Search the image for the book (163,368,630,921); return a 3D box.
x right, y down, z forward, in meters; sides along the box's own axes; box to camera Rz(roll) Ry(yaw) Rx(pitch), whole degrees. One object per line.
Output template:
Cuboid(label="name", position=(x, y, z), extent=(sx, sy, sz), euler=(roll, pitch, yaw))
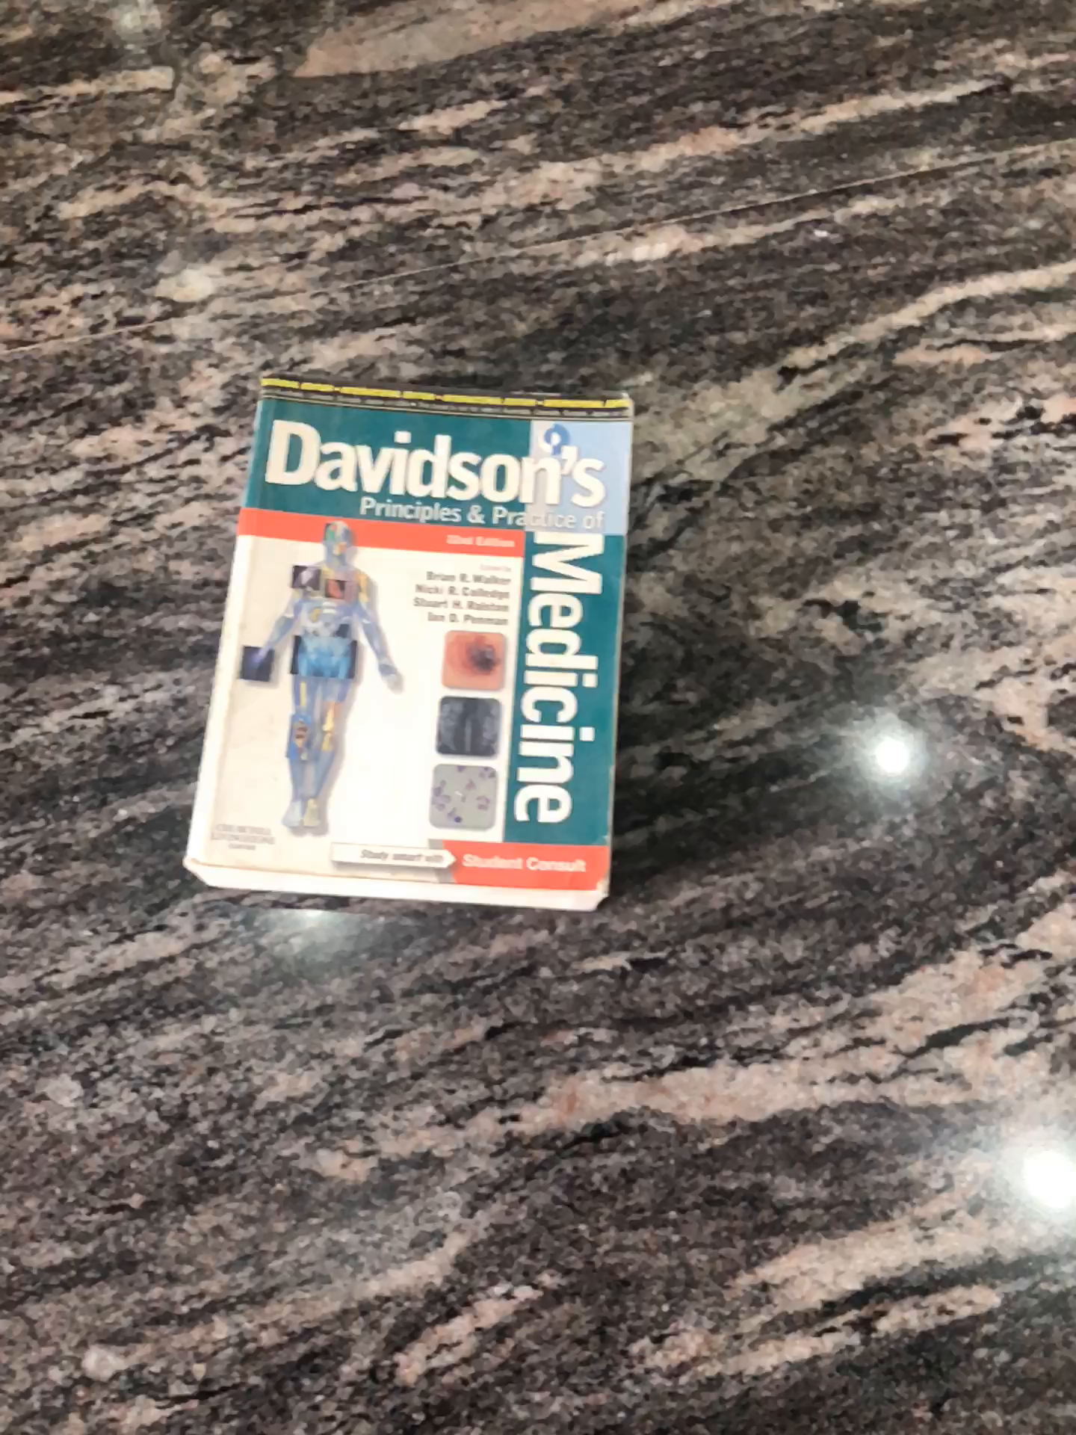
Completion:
Cuboid(label="book", position=(-0.061, -0.039, 0.602), extent=(0.200, 0.070, 0.260), euler=(4, 72, -1))
